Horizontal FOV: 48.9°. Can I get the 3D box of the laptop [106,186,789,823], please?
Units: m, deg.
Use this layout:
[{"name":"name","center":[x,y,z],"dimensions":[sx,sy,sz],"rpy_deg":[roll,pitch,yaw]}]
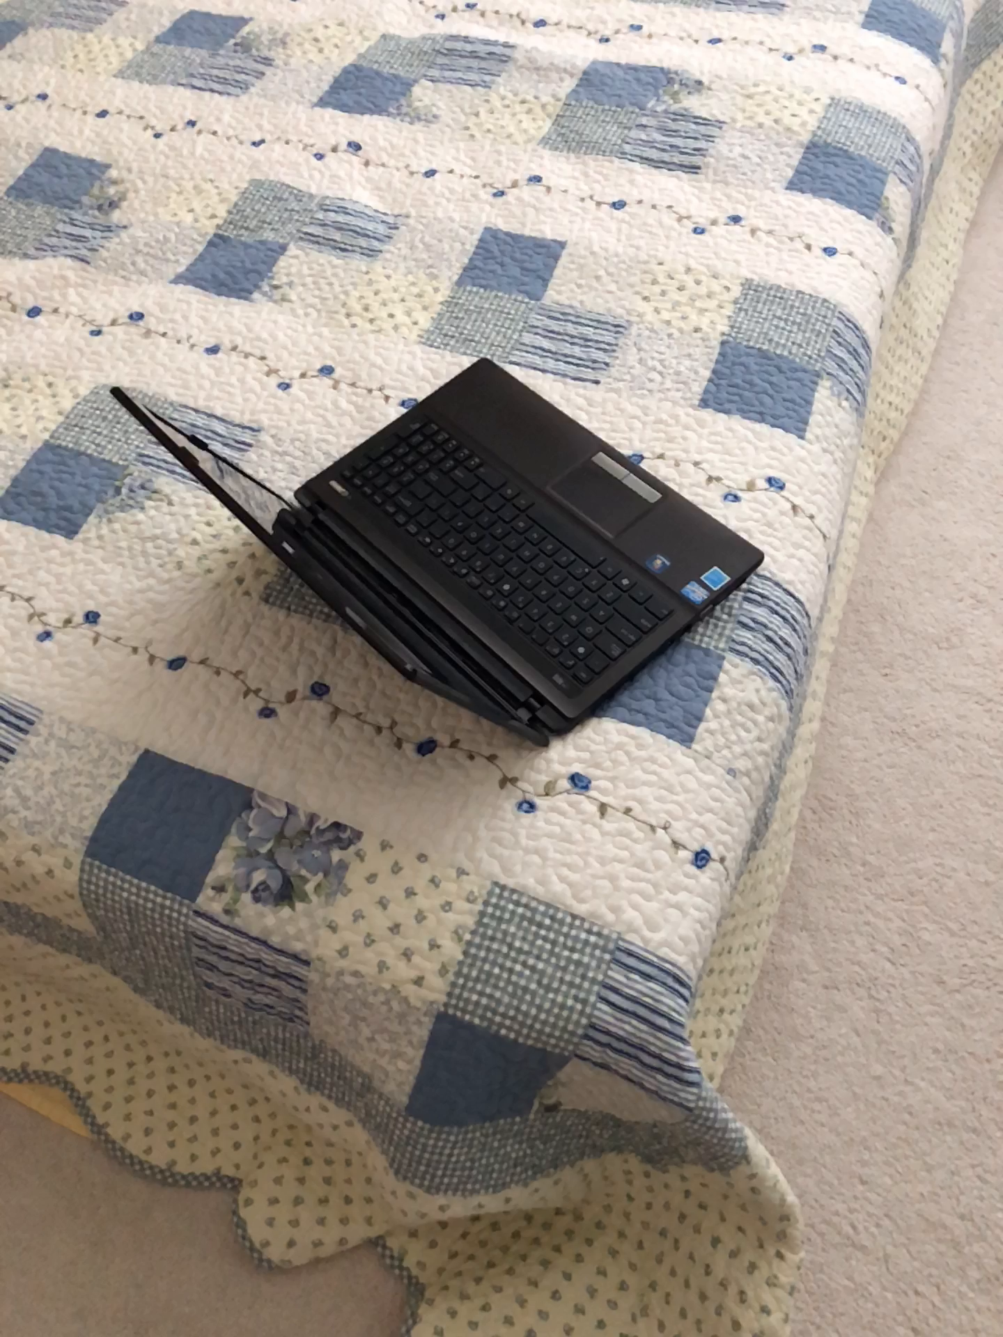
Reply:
[{"name":"laptop","center":[-0.038,-0.148,0.875],"dimensions":[0.350,0.193,0.358],"rpy_deg":[-38,60,-19]}]
